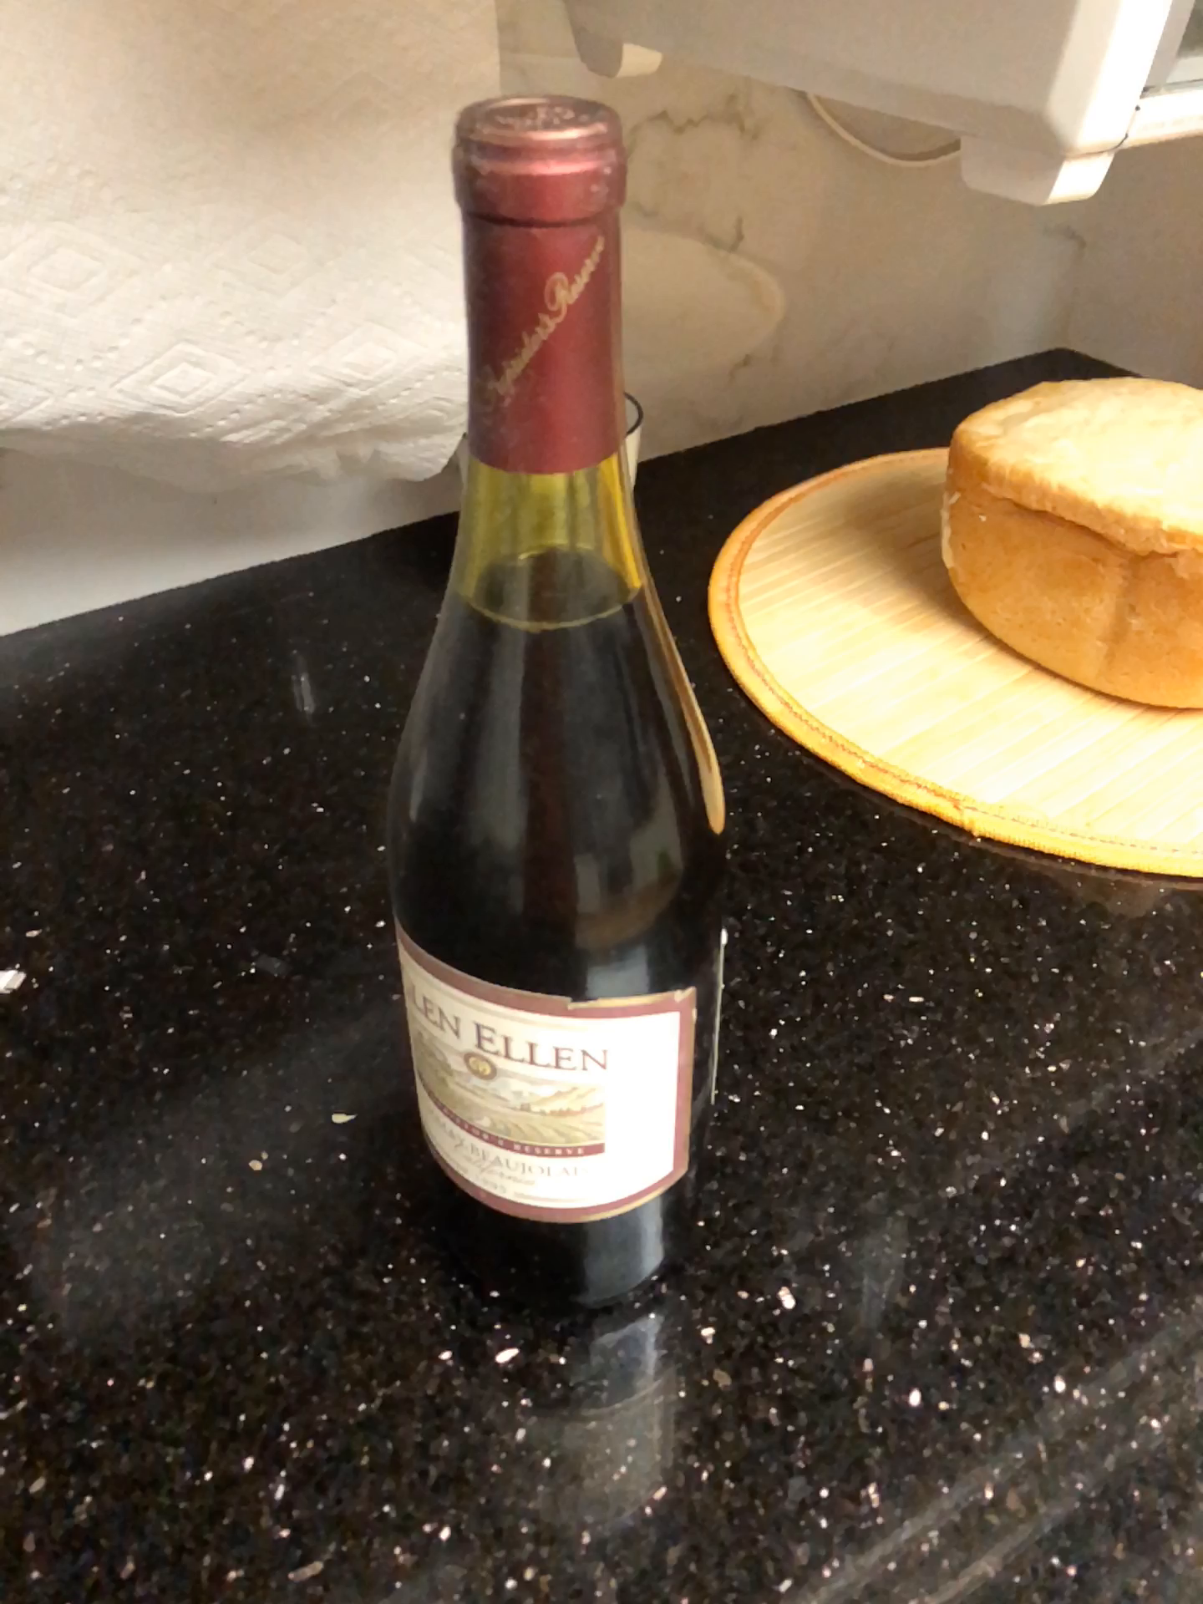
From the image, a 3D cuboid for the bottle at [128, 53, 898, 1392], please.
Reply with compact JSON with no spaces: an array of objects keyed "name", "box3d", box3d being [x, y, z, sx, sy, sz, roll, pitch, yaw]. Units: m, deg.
[{"name":"bottle","box3d":[-0.012,0.001,0.307,0.090,0.288,0.090,0,38,0]}]
